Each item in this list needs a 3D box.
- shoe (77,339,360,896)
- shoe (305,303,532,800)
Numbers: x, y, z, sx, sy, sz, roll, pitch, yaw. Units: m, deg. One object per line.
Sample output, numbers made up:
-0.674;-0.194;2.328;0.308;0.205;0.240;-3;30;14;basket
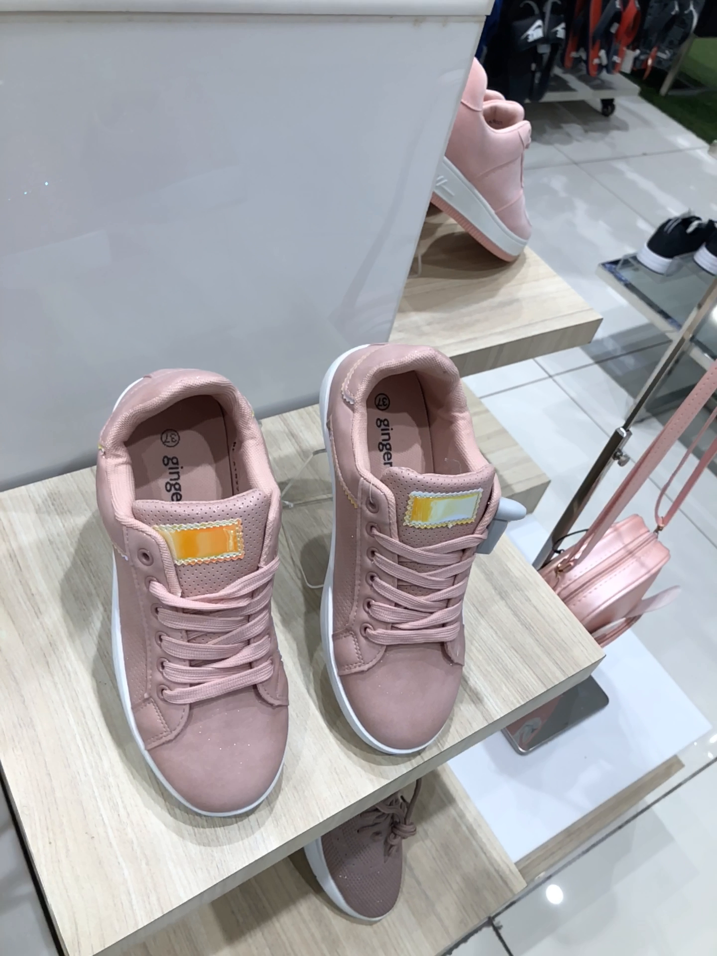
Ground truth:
-0.080;0.062;0.426;0.103;0.093;0.252;-7;90;-22;shoe
0.031;0.039;0.478;0.099;0.093;0.261;0;85;-19;shoe
